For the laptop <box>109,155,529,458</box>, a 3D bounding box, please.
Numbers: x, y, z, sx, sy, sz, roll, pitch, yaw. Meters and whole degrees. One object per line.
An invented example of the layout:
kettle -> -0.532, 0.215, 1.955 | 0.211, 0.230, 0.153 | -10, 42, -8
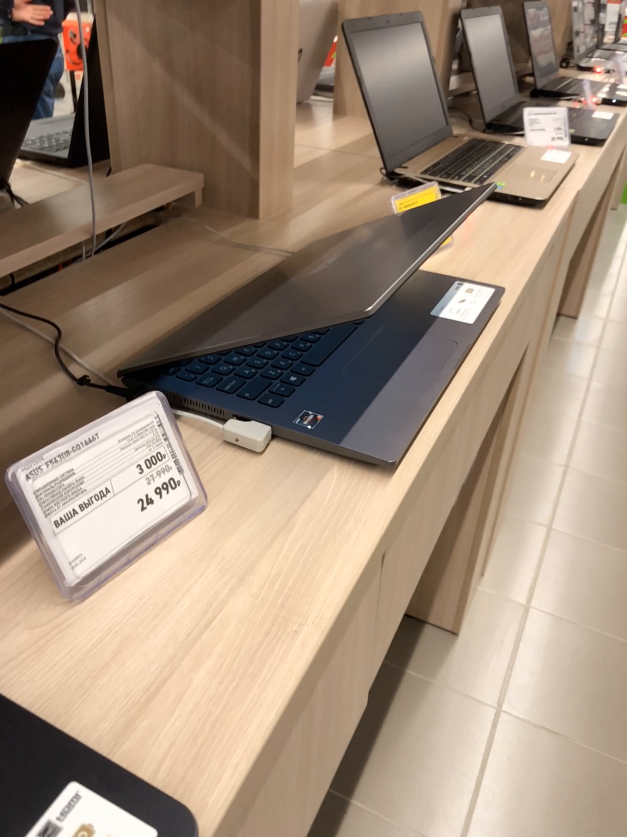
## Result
laptop -> 0.030, -0.132, 0.623 | 0.232, 0.111, 0.350 | 16, 35, 20
